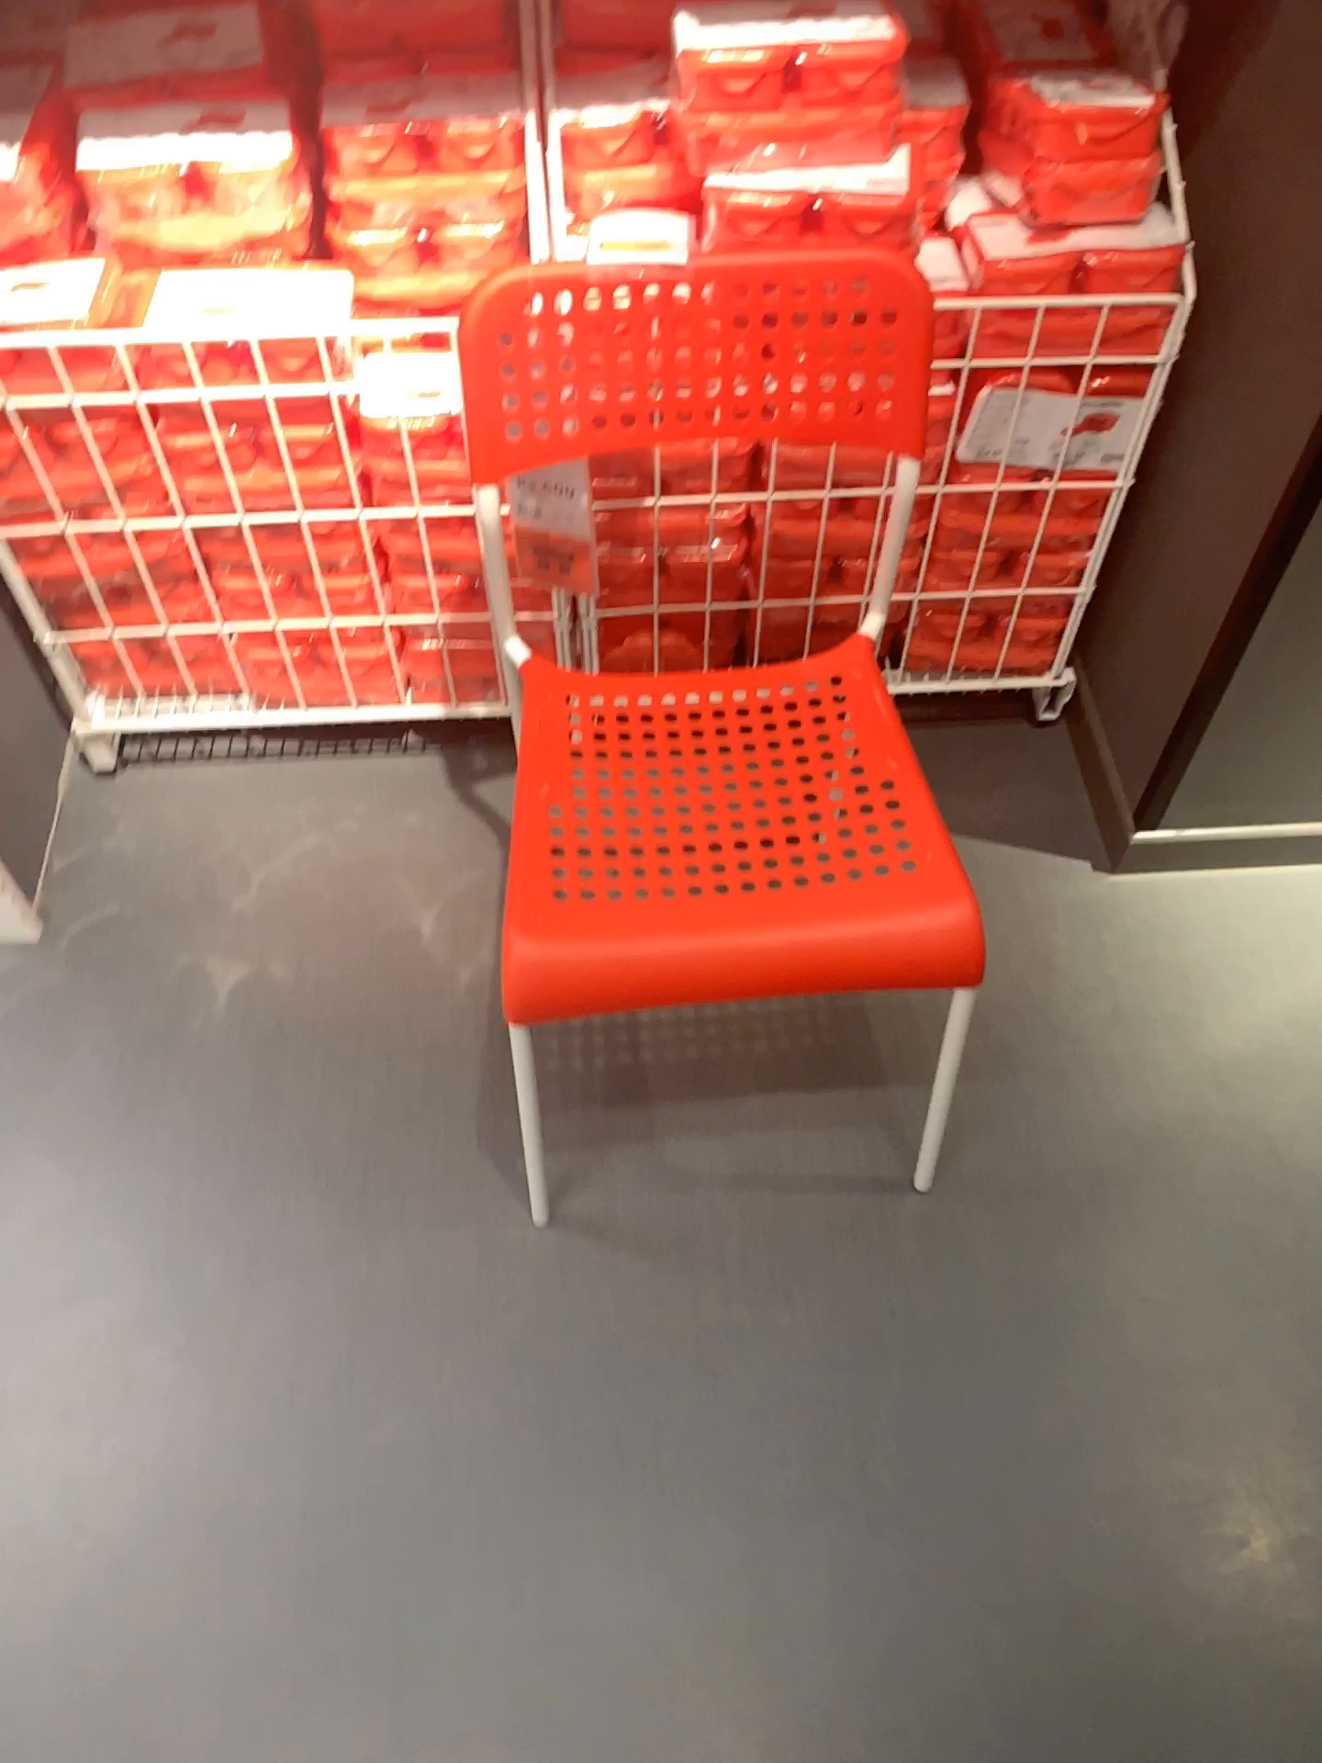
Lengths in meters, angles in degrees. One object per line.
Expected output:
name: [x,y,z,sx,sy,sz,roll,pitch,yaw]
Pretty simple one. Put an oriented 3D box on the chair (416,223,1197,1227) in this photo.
chair: [0.059,-0.080,1.114,0.410,0.688,0.461,-4,54,-3]
